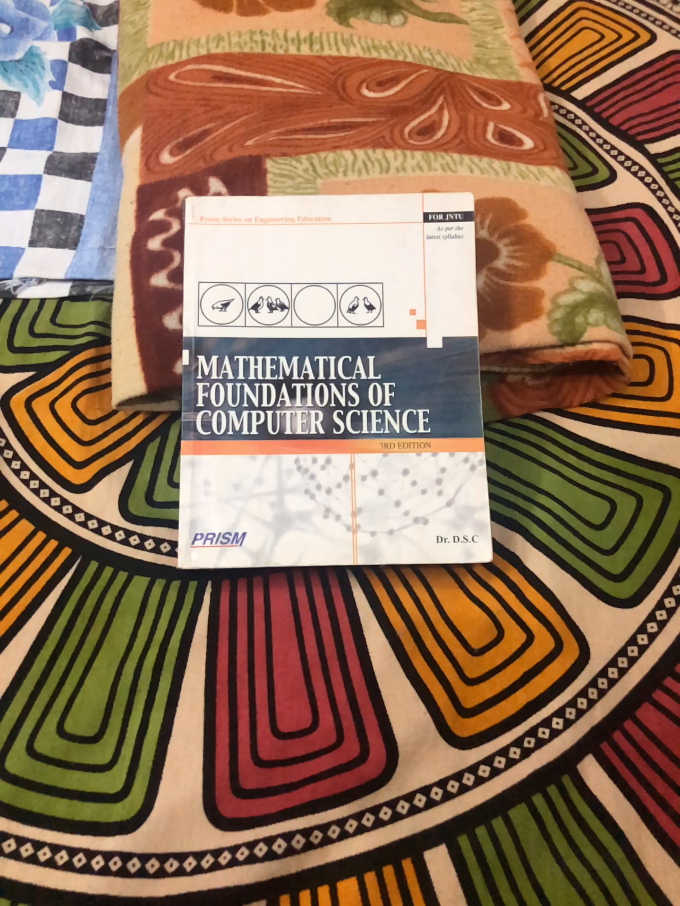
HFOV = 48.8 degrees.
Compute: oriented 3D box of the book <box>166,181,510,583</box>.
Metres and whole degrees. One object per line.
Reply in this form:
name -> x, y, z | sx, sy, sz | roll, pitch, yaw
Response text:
book -> -0.005, -0.045, 0.471 | 0.190, 0.060, 0.240 | -2, 76, 0
